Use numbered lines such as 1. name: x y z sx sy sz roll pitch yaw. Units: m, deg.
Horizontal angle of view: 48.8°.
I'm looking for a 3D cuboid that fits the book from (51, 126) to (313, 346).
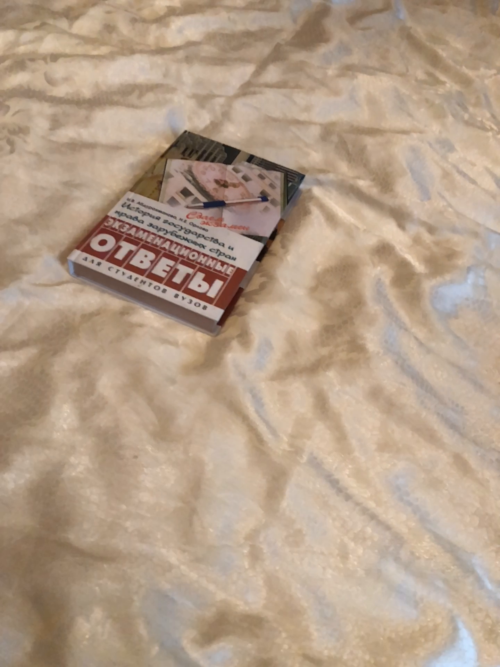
1. book: -0.051 -0.102 0.505 0.150 0.030 0.211 23 53 9
